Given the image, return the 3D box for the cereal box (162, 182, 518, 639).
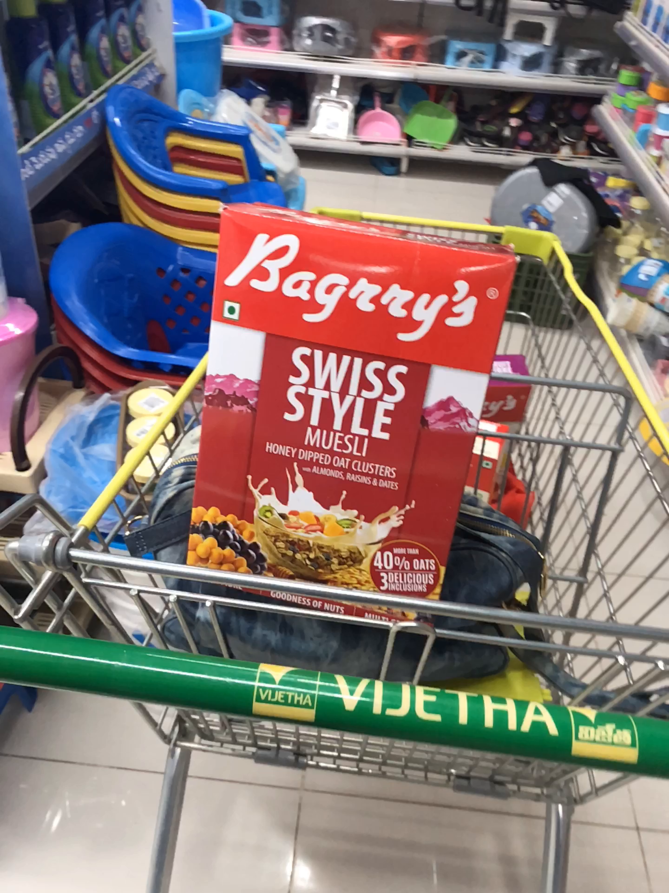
[{"bbox_3d":[-0.002,-0.025,0.495,0.190,0.259,0.070,11,17,9],"label":"cereal box"}]
